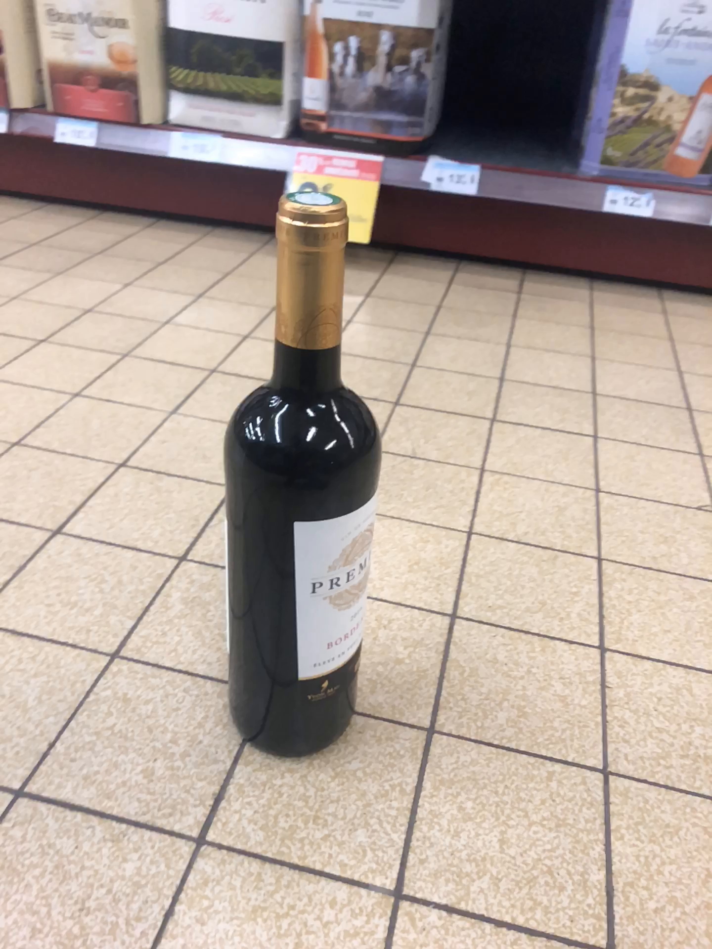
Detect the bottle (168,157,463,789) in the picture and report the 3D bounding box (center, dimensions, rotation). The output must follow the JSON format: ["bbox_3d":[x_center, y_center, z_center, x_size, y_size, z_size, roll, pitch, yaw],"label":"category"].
[{"bbox_3d":[-0.023,0.009,0.383,0.080,0.288,0.091,20,35,23],"label":"bottle"}]
